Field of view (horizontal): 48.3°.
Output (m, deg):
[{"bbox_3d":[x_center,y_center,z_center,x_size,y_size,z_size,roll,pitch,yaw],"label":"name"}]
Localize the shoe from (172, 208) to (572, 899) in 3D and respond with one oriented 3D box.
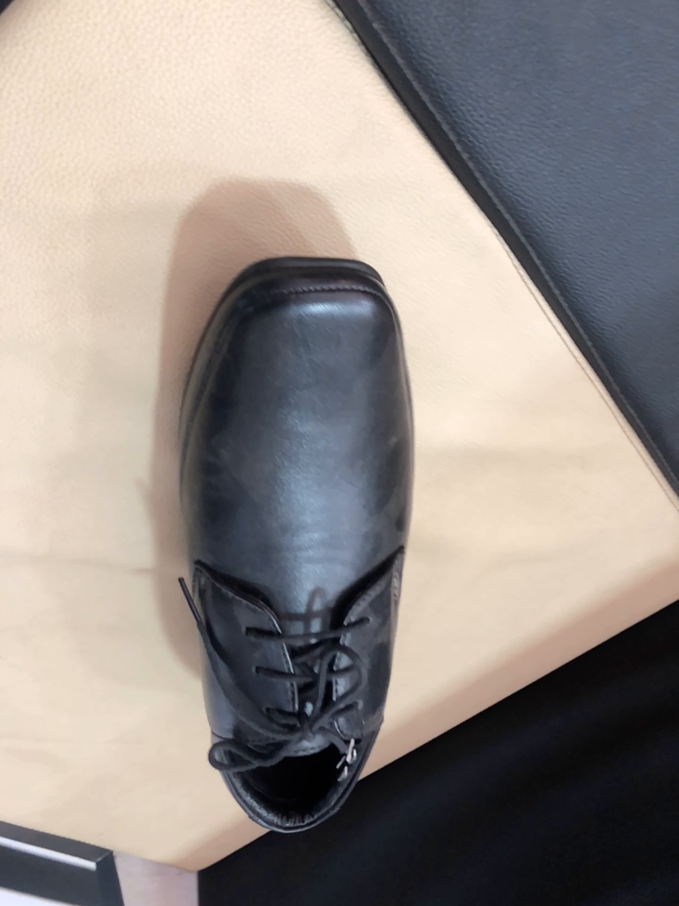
[{"bbox_3d":[-0.013,0.060,0.279,0.090,0.079,0.272,-1,129,-12],"label":"shoe"}]
